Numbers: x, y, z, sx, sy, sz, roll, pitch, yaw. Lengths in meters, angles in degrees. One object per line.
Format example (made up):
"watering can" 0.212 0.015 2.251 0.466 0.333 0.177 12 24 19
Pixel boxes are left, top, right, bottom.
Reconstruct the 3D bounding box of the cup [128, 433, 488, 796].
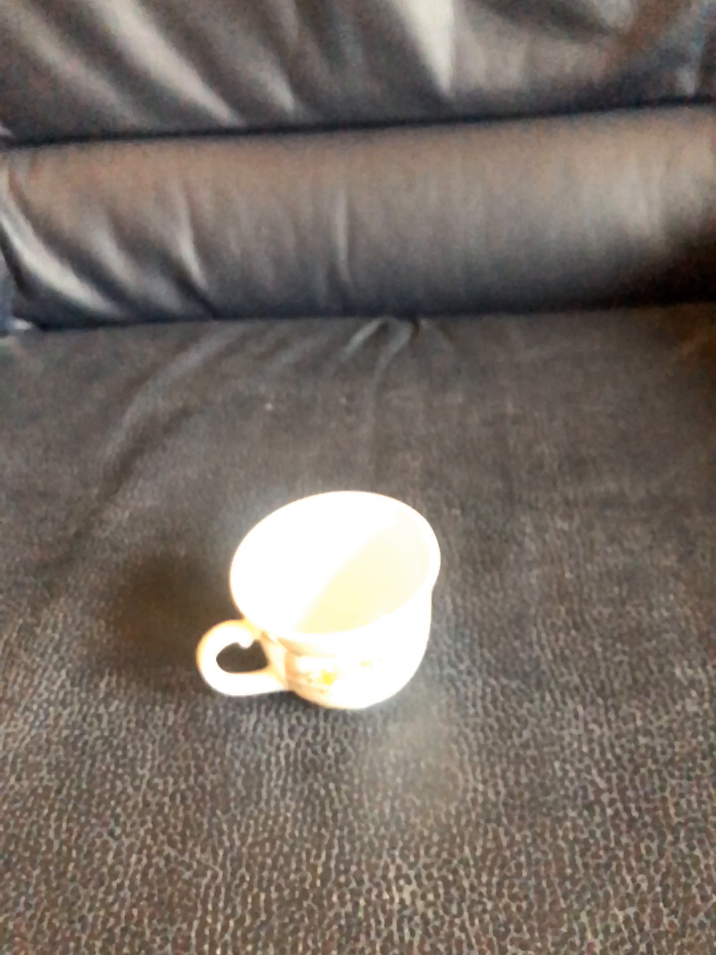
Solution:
"cup" -0.015 0.037 0.251 0.083 0.050 0.069 -23 42 -20
